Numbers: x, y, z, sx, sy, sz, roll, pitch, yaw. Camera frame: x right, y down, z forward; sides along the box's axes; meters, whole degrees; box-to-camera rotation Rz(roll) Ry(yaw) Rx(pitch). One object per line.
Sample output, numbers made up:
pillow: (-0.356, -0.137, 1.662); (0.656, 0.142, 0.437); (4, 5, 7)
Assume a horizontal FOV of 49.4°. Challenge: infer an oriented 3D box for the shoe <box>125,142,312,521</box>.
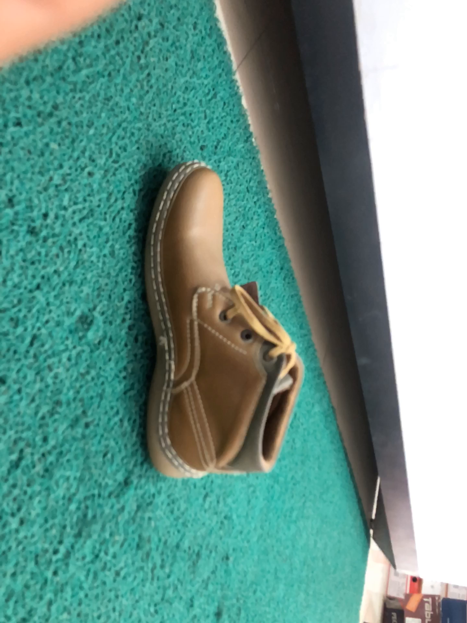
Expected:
shoe: (-0.008, 0.014, 0.457); (0.101, 0.129, 0.290); (-13, 103, -65)
